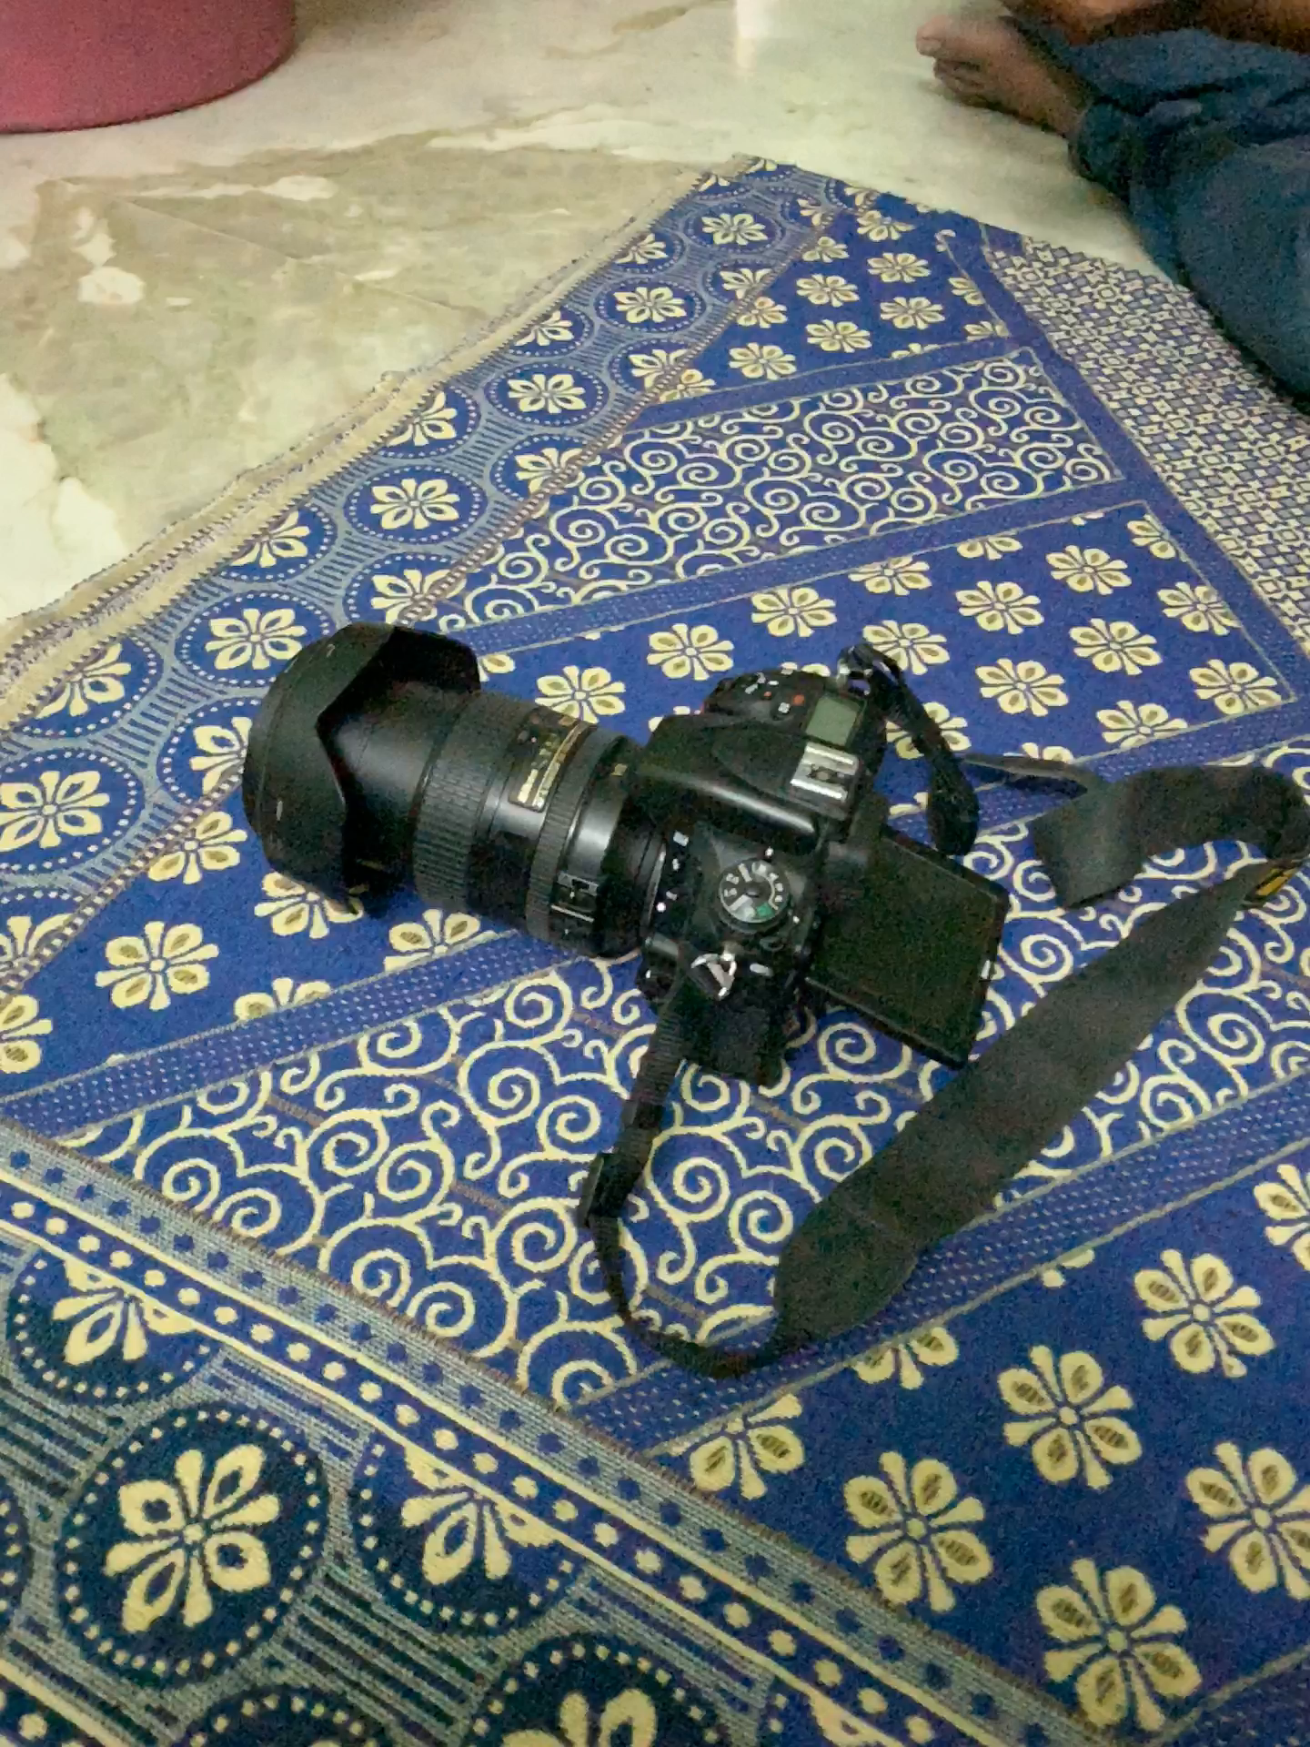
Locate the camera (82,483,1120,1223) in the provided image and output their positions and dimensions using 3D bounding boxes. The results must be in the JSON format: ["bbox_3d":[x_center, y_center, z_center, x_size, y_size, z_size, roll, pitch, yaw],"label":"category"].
[{"bbox_3d":[-0.015,-0.020,0.502,0.320,0.110,0.160,18,50,13],"label":"camera"}]
